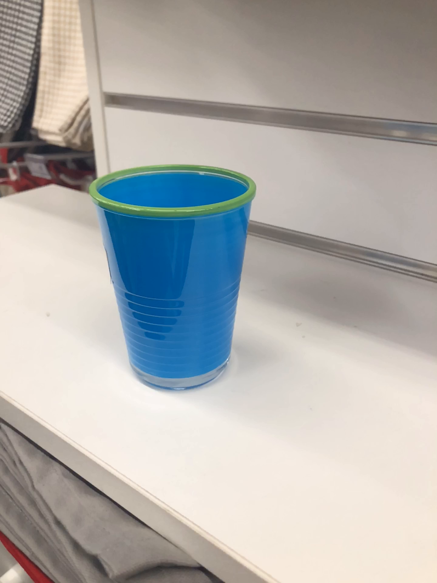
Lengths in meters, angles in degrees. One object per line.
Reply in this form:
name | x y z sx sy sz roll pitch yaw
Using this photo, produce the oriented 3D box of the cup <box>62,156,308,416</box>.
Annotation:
cup | -0.015 -0.011 0.249 0.080 0.090 0.084 1 27 0
